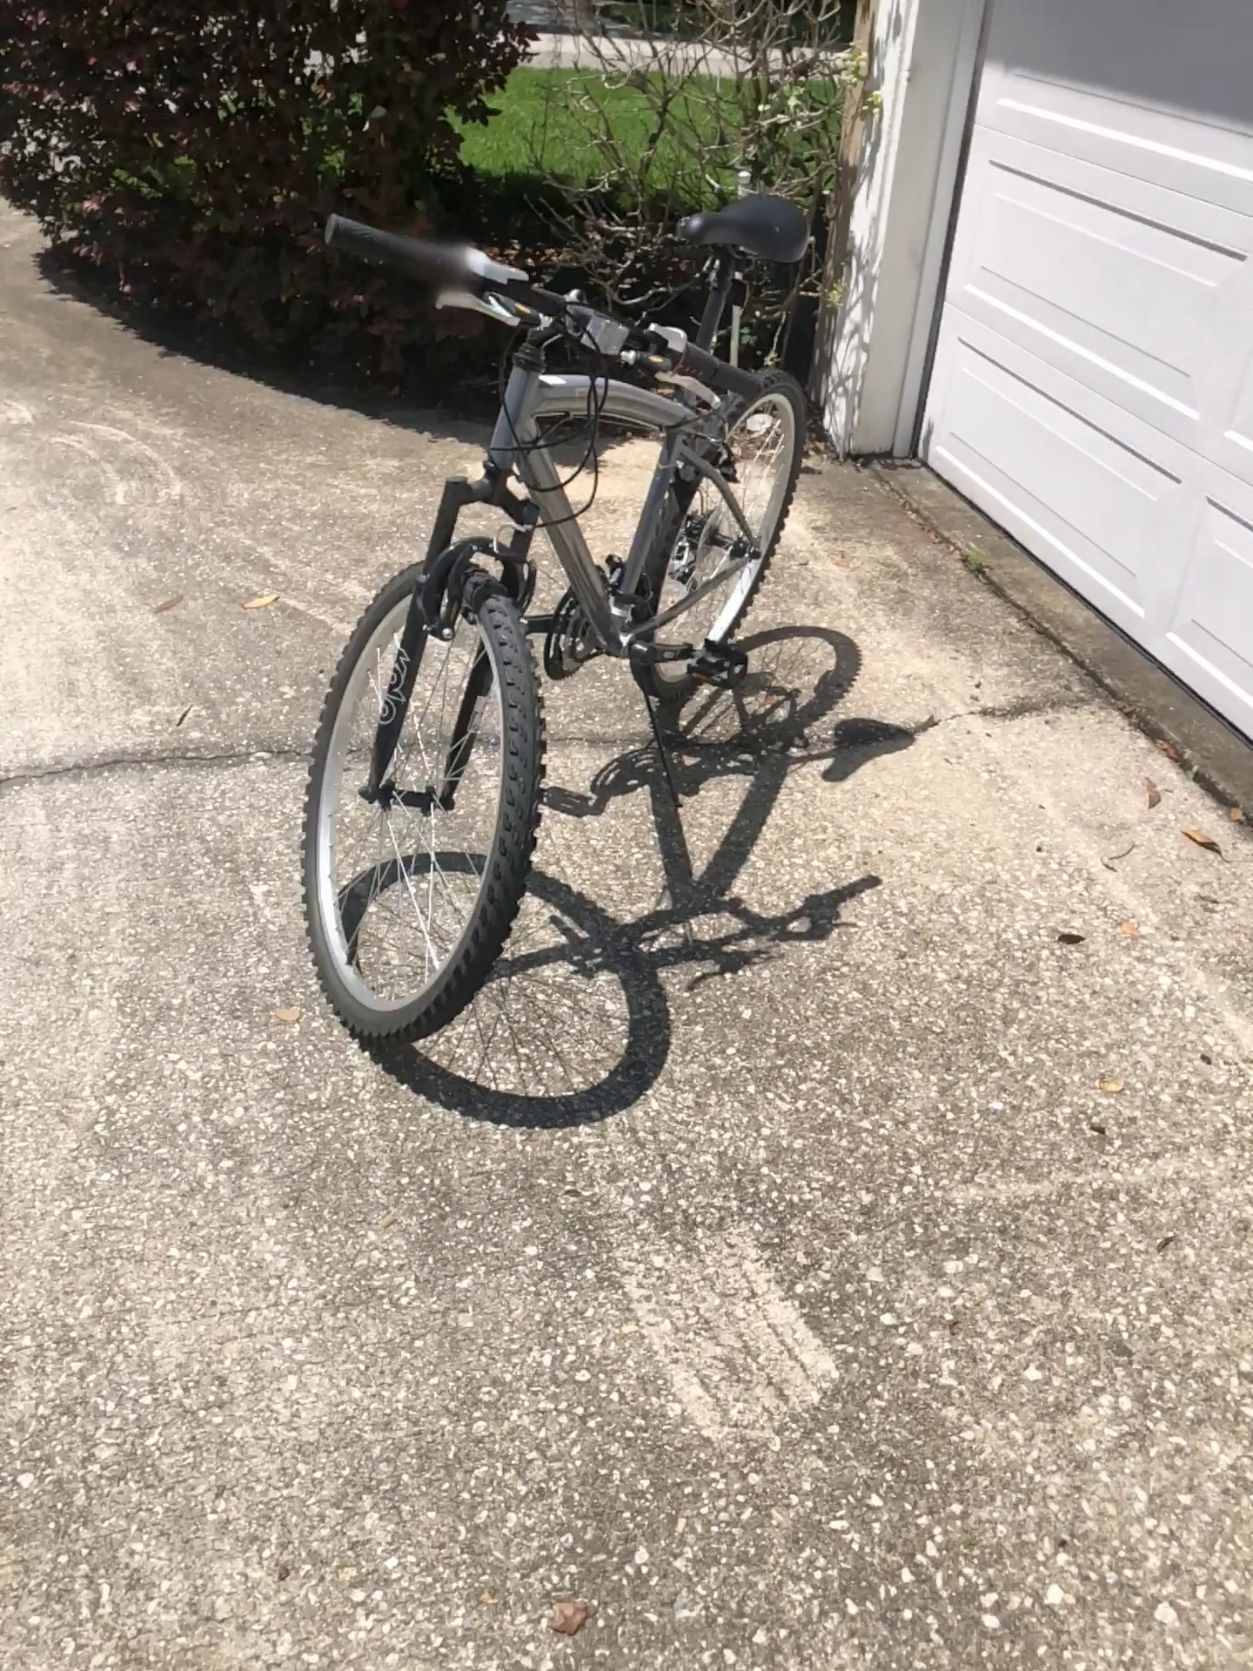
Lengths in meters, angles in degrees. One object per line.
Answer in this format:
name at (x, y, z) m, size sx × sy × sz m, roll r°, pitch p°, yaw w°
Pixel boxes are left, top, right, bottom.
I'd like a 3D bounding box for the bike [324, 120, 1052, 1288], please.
bike at (0.181, -0.401, 2.135) m, size 0.679 × 0.979 × 1.539 m, roll 13°, pitch 37°, yaw 14°
